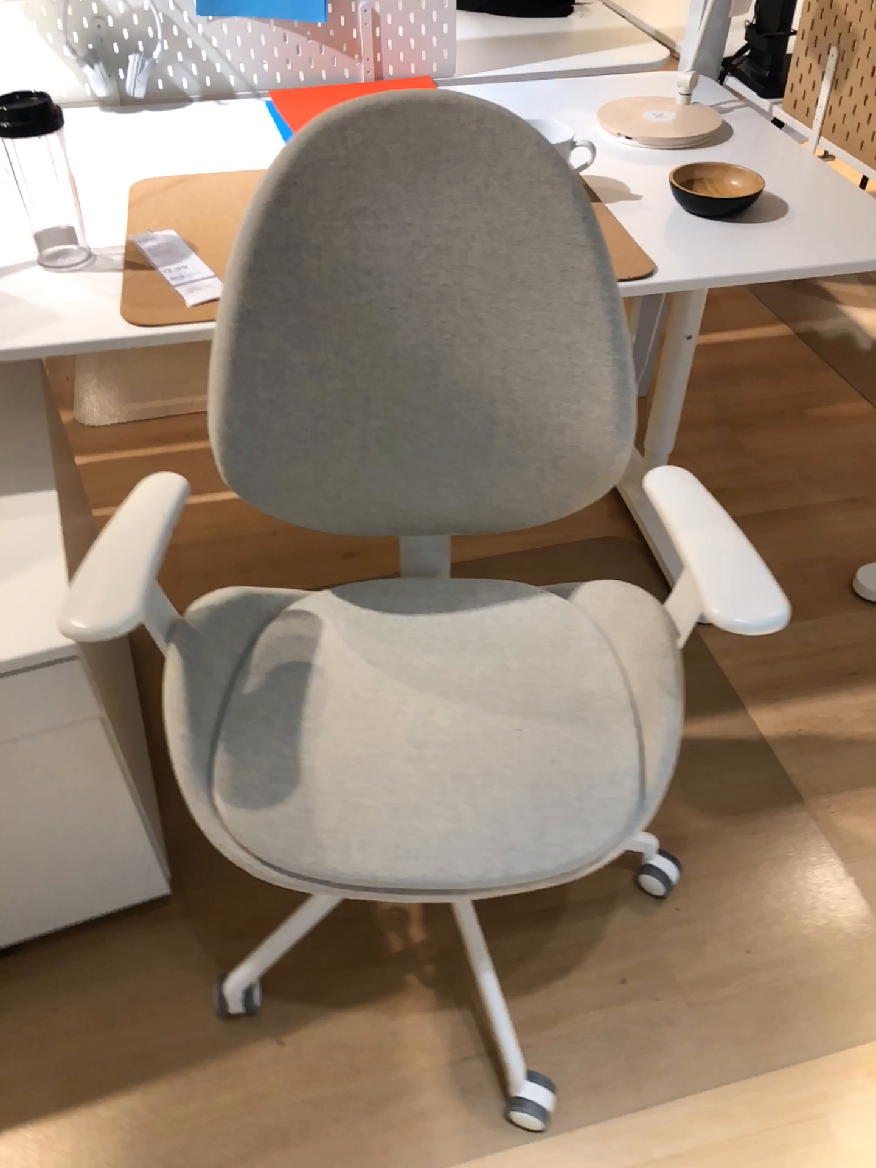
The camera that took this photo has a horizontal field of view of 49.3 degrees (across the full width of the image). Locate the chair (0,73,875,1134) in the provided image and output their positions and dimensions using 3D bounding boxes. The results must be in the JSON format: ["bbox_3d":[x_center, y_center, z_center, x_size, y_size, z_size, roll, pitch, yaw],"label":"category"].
[{"bbox_3d":[0.022,0.052,1.035,0.650,0.914,0.705,0,43,0],"label":"chair"}]
